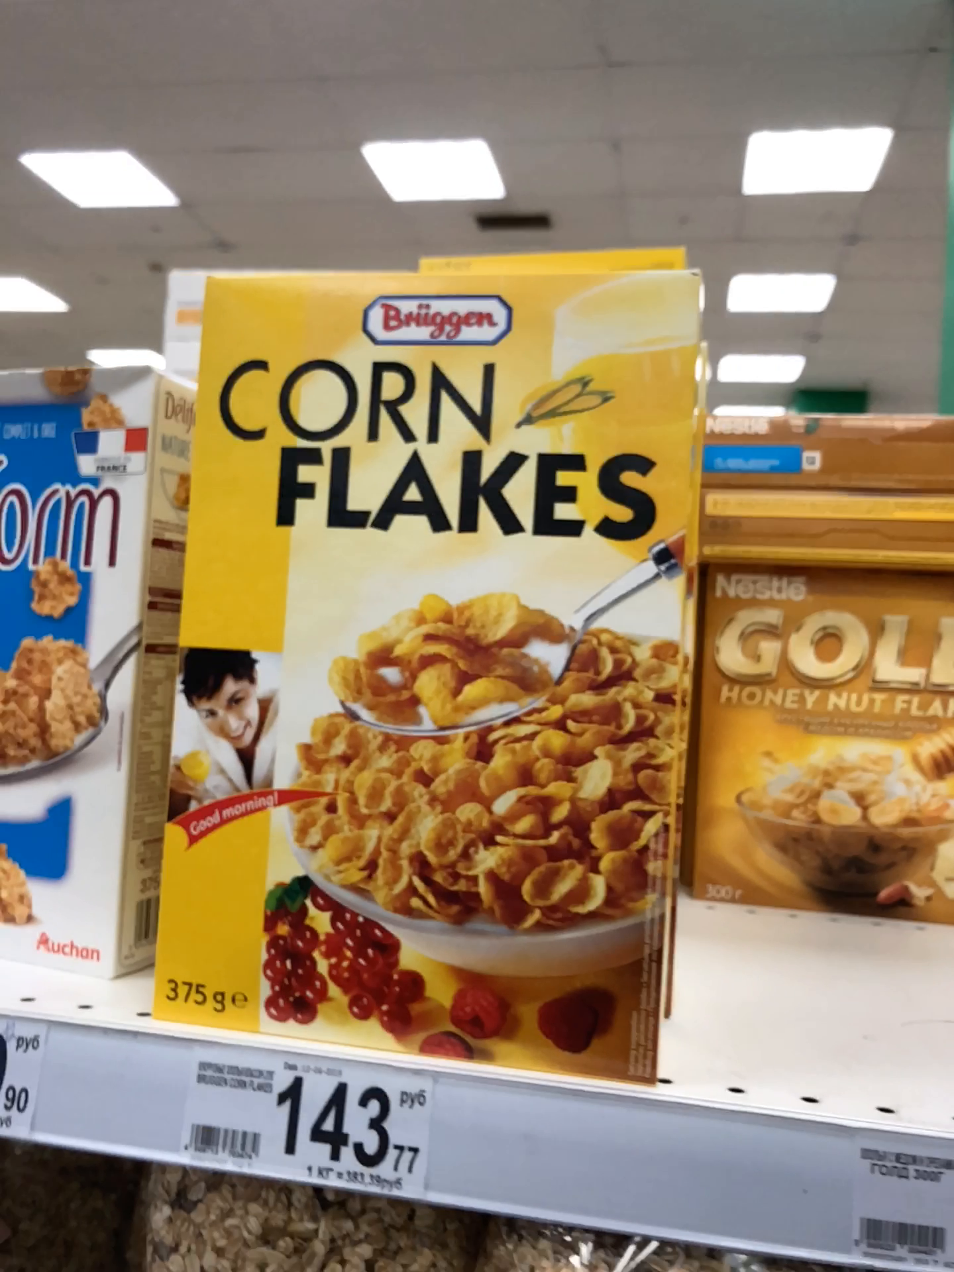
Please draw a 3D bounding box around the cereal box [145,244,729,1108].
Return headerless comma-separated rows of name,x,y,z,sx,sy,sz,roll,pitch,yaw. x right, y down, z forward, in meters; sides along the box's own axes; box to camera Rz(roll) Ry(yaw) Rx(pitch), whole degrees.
cereal box,-0.011,0.008,0.426,0.200,0.300,0.080,3,-1,11
